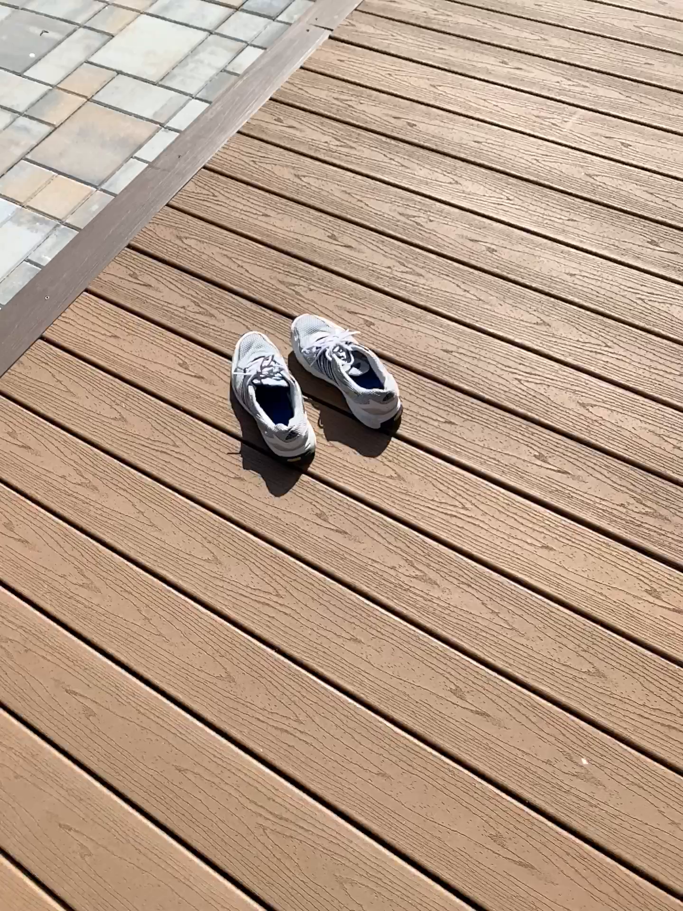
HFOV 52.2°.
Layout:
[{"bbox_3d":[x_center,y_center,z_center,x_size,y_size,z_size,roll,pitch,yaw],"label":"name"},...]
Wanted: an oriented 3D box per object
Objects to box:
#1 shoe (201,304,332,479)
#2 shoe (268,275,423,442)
[{"bbox_3d":[-0.137,-0.120,1.259,0.120,0.100,0.291,-25,61,-9],"label":"shoe"},{"bbox_3d":[0.005,-0.183,1.280,0.120,0.100,0.301,-35,63,-14],"label":"shoe"}]
